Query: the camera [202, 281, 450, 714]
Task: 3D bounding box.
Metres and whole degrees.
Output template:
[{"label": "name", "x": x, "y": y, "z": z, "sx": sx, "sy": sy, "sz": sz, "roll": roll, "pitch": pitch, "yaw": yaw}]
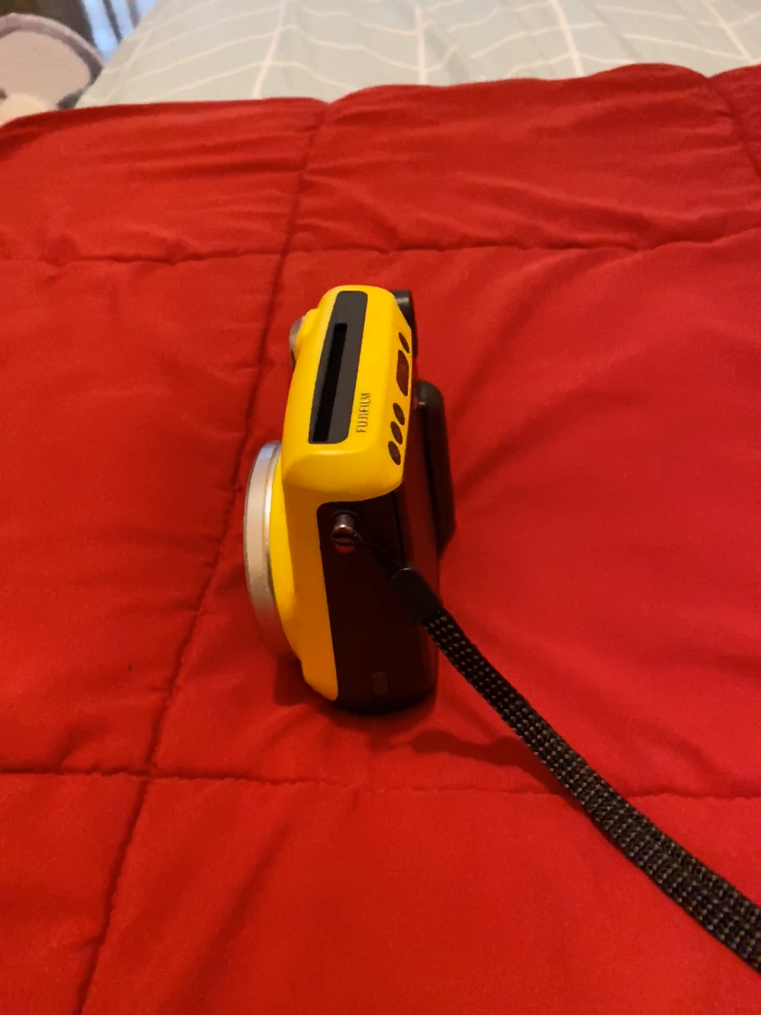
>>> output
[{"label": "camera", "x": -0.007, "y": -0.002, "z": 0.258, "sx": 0.057, "sy": 0.103, "sz": 0.096, "roll": -1, "pitch": 43, "yaw": 6}]
